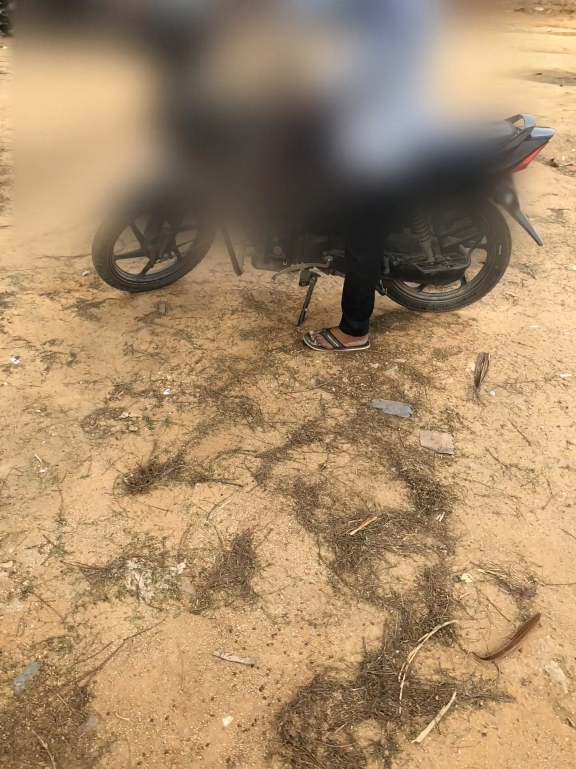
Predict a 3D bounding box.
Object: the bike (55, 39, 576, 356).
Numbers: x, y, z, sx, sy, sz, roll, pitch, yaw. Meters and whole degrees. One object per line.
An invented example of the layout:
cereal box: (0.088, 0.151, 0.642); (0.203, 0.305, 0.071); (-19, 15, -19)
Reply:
bike: (0.060, -0.688, 2.384); (1.560, 0.913, 0.673); (1, 33, 7)
